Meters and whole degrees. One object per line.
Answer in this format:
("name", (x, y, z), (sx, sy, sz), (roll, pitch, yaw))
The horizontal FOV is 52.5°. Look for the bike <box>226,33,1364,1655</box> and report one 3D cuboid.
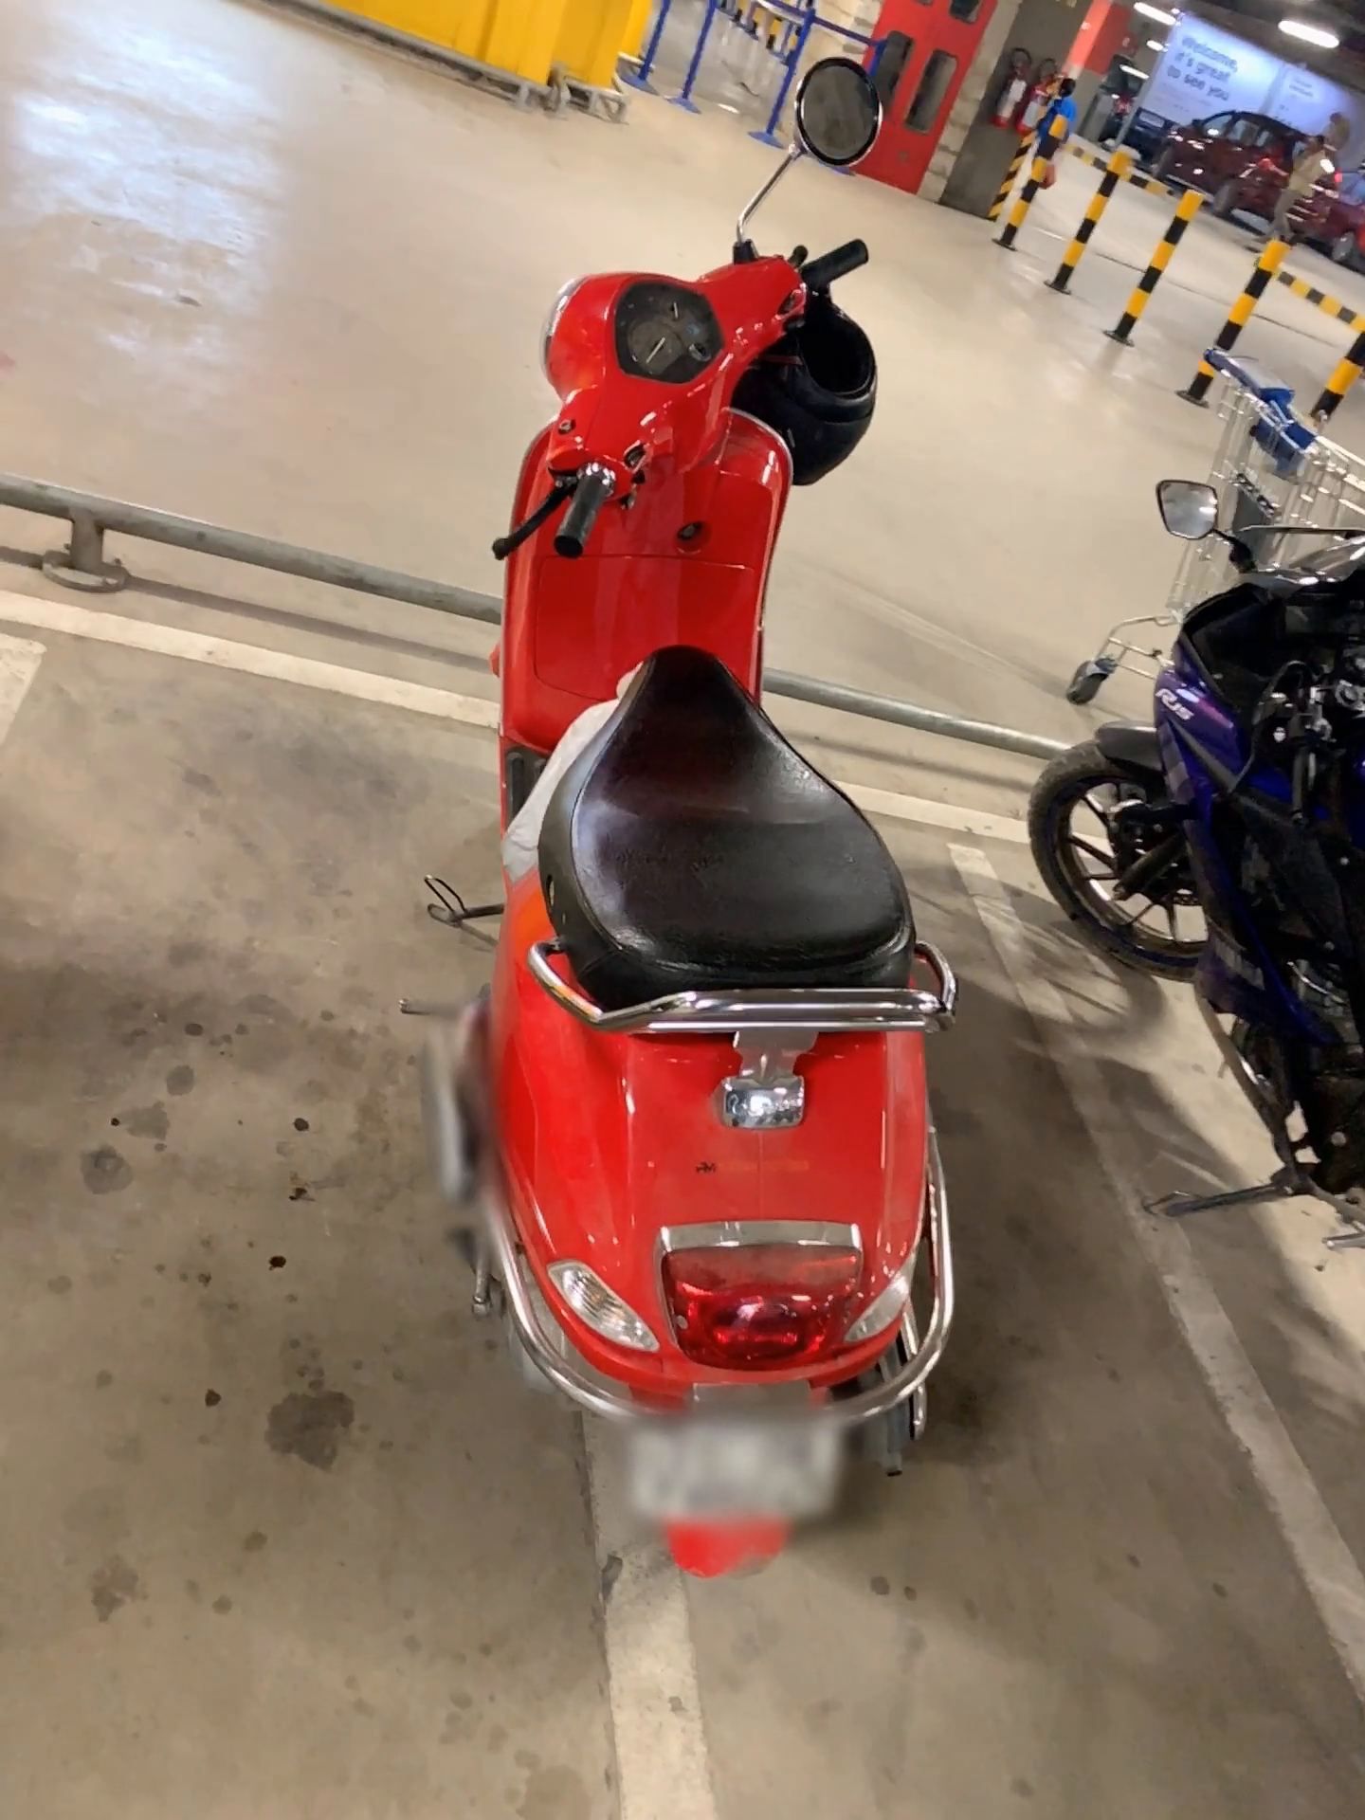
("bike", (-0.165, -0.198, 1.781), (0.633, 1.201, 1.685), (7, 37, -23))
